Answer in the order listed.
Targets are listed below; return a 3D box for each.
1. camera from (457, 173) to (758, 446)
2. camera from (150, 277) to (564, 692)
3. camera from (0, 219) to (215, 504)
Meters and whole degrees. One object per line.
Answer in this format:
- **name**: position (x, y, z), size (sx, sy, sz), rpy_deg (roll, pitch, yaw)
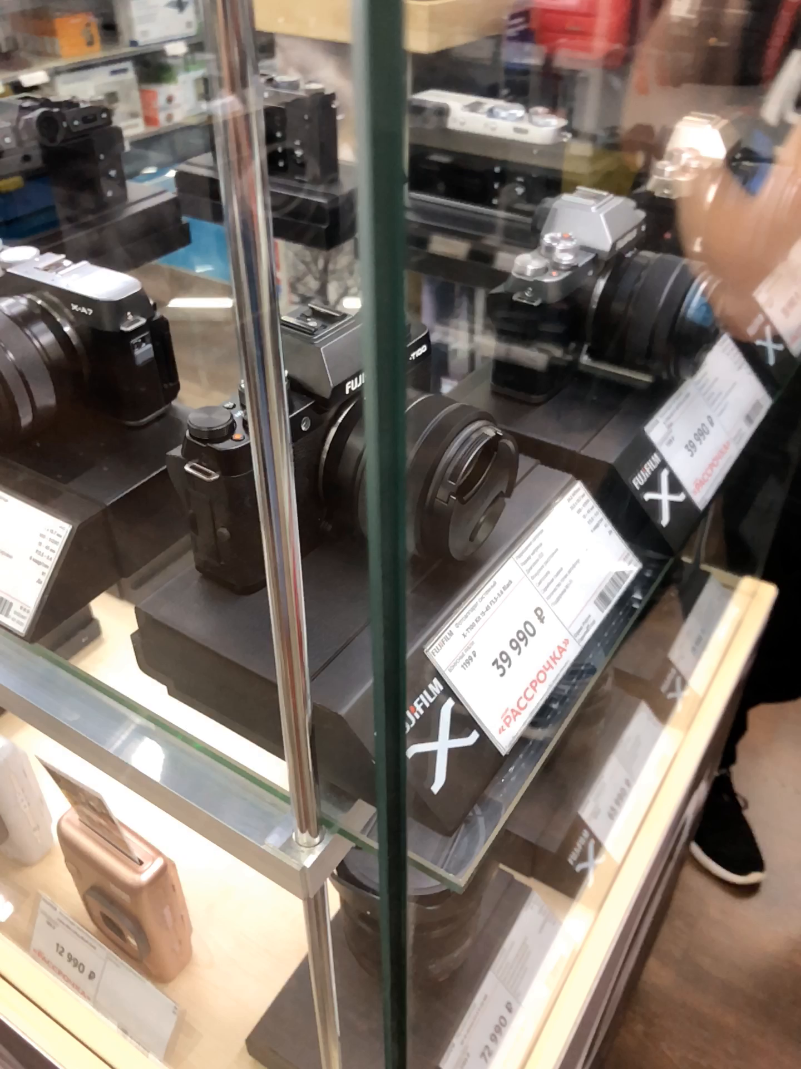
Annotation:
- **camera**: position (0.103, -0.119, 0.448), size (0.099, 0.078, 0.121), rpy_deg (22, 43, 26)
- **camera**: position (-0.012, -0.027, 0.346), size (0.095, 0.089, 0.120), rpy_deg (23, 43, 27)
- **camera**: position (-0.169, -0.086, 0.410), size (0.120, 0.069, 0.100), rpy_deg (21, 42, 24)
